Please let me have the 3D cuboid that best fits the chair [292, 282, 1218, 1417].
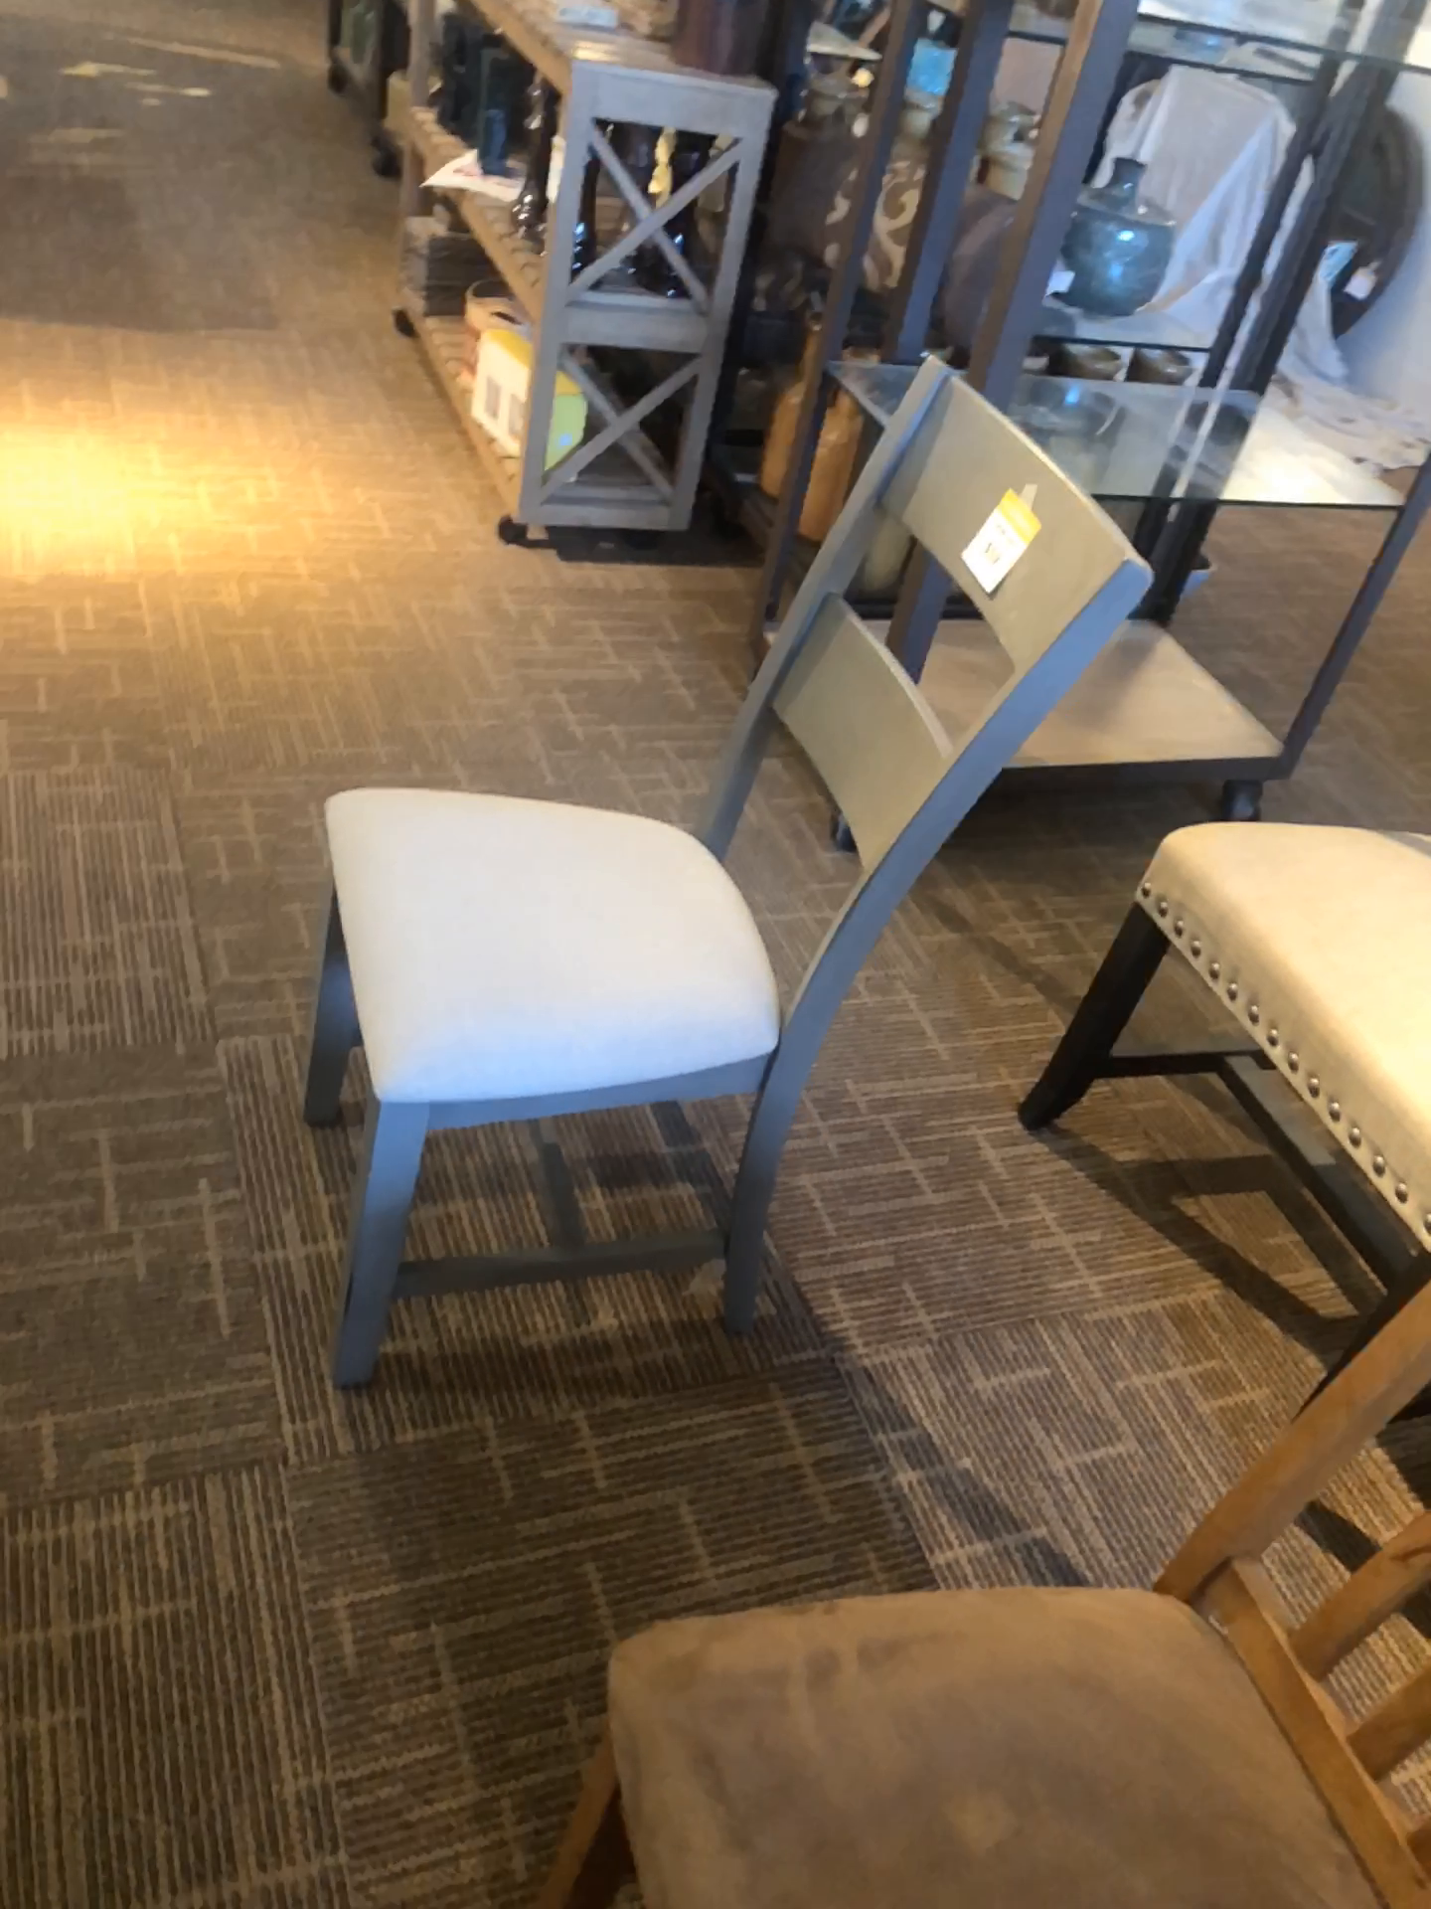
[{"bbox_3d":[-0.066,-0.060,1.558,0.631,0.965,0.462,-2,40,-19],"label":"chair"}]
